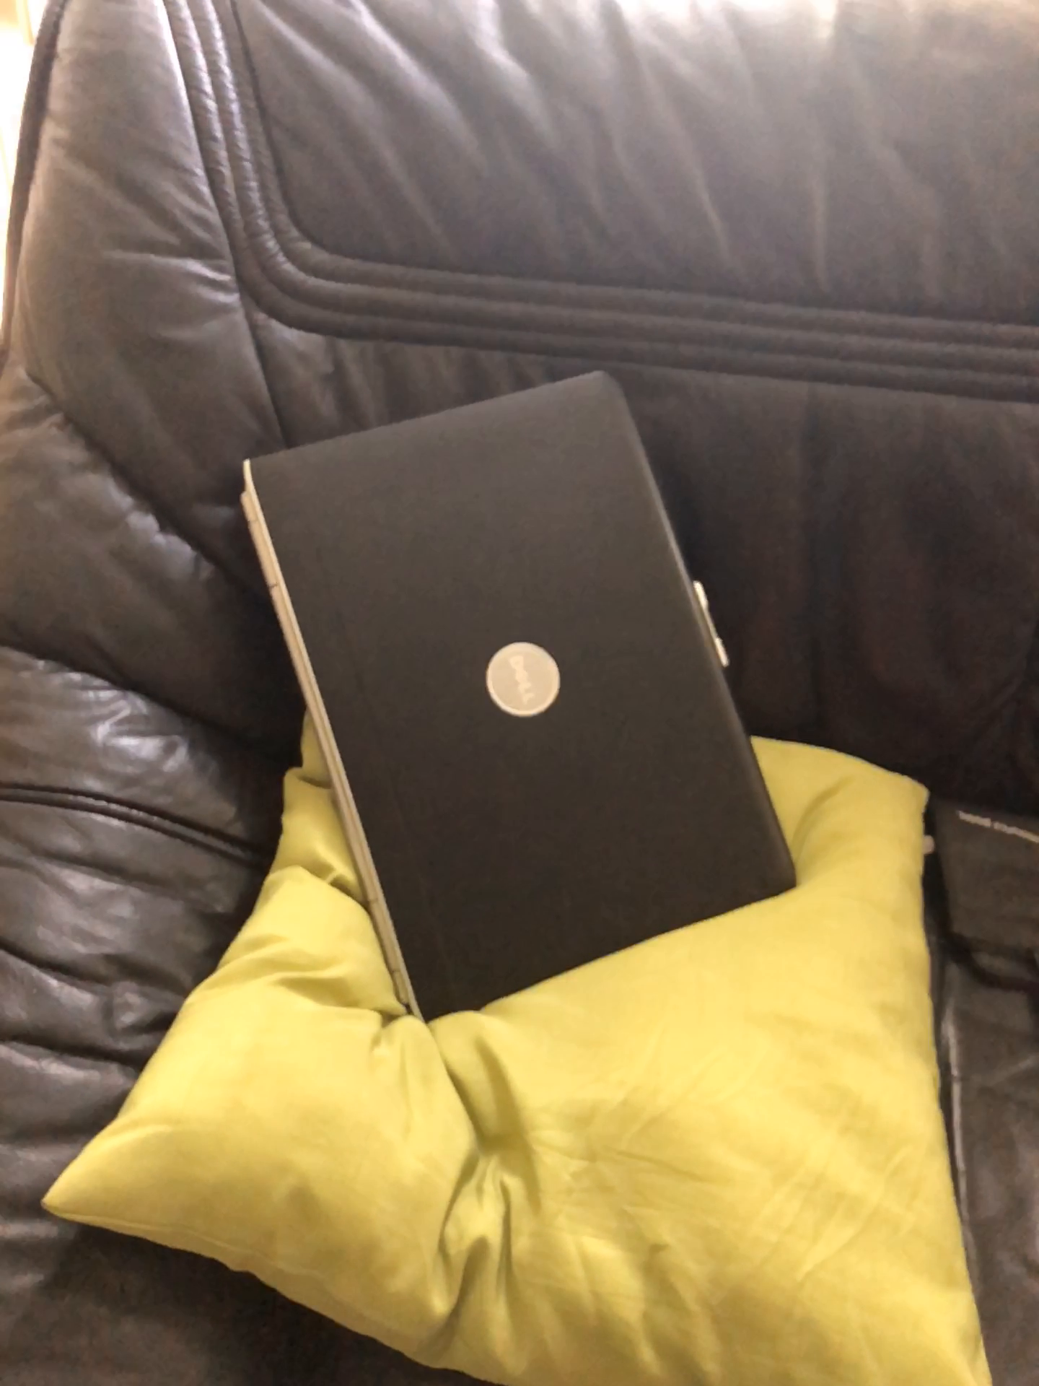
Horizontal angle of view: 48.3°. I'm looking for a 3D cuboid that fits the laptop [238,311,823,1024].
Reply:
[{"bbox_3d":[0.005,-0.025,0.689,0.247,0.033,0.345,-17,83,-12],"label":"laptop"}]
